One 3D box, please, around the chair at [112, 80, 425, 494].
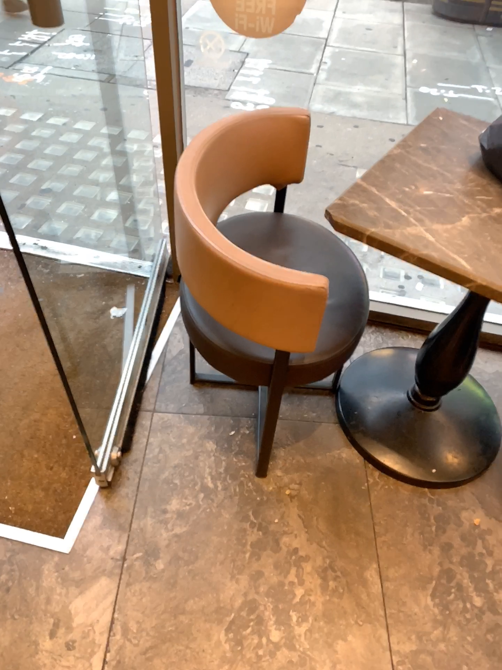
[{"bbox_3d":[0.073,-0.142,1.310,0.510,0.654,0.767,10,47,5],"label":"chair"}]
